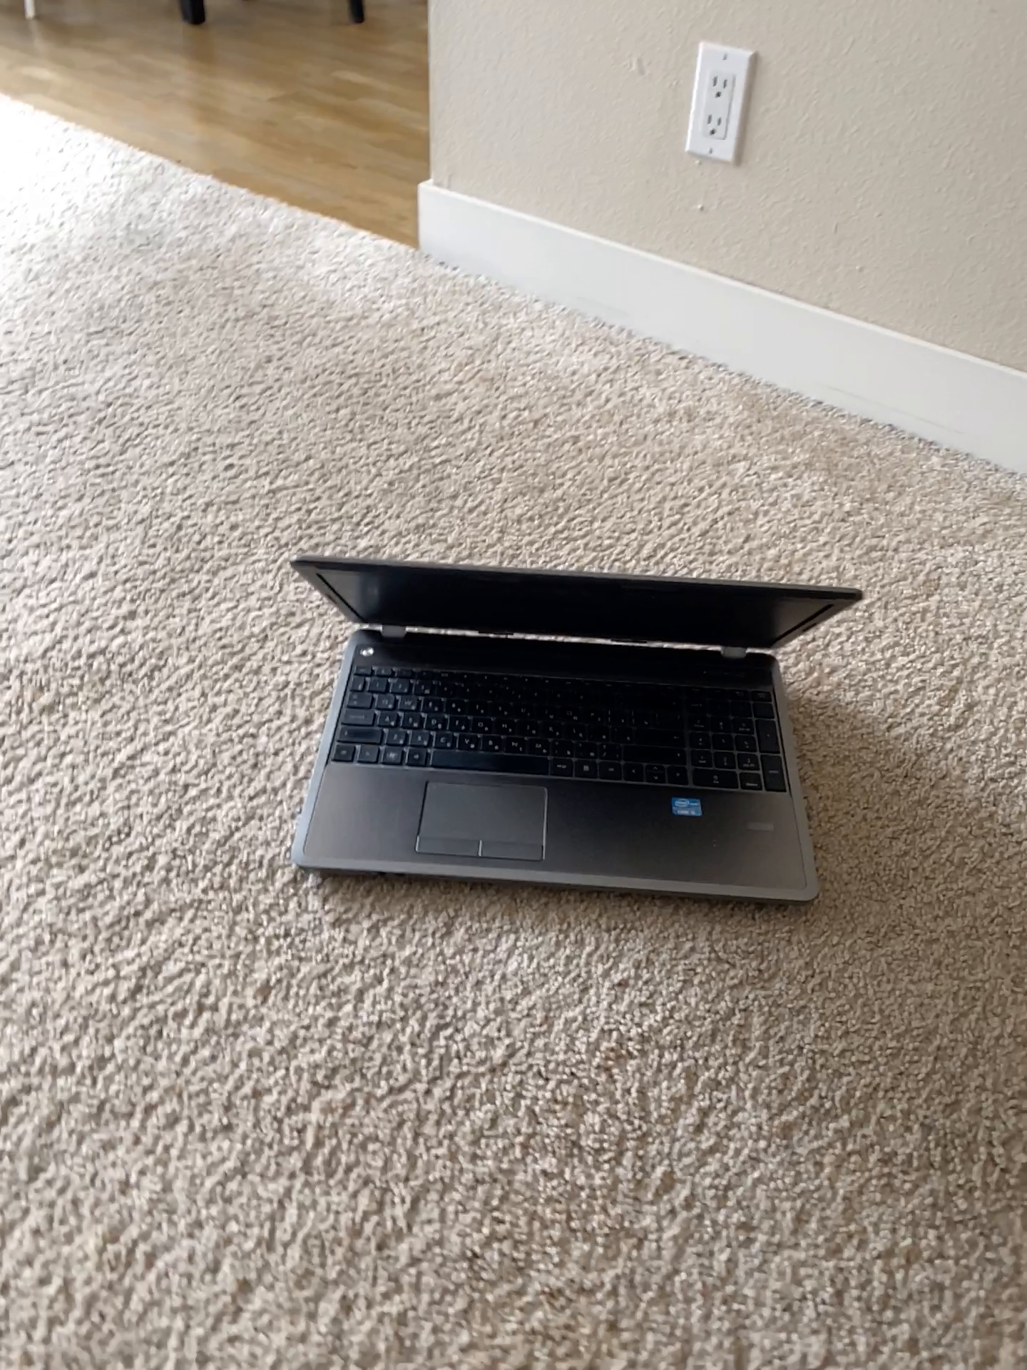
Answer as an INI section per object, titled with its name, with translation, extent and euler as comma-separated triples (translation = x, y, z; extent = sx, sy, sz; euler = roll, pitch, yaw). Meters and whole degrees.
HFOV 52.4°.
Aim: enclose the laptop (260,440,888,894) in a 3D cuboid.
[laptop]
translation = 0.039, -0.020, 0.766
extent = 0.368, 0.186, 0.255
euler = 4, 43, 1
